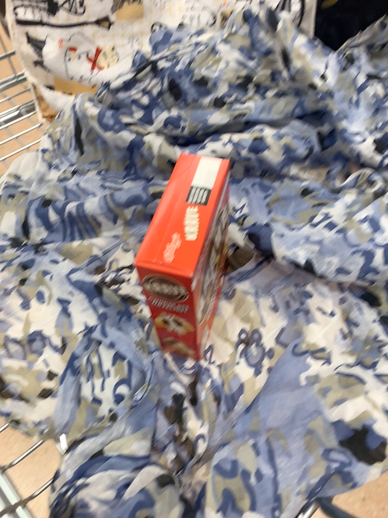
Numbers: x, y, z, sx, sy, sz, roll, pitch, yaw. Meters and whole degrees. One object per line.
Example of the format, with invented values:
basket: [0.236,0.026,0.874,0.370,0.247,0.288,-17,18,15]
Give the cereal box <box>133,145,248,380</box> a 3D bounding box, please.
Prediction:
cereal box: [0.004,0.012,0.280,0.040,0.149,0.091,11,56,11]
